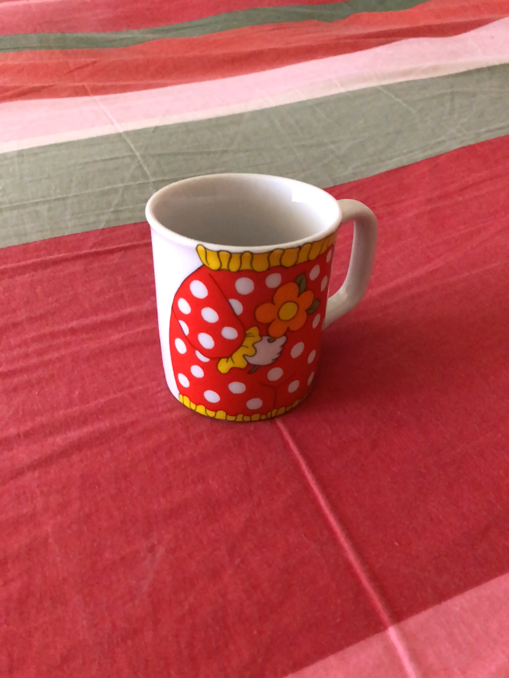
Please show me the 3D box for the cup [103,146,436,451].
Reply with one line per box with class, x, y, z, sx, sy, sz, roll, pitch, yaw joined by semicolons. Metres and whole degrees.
cup;0.006;-0.028;0.272;0.116;0.086;0.089;-23;43;-32
